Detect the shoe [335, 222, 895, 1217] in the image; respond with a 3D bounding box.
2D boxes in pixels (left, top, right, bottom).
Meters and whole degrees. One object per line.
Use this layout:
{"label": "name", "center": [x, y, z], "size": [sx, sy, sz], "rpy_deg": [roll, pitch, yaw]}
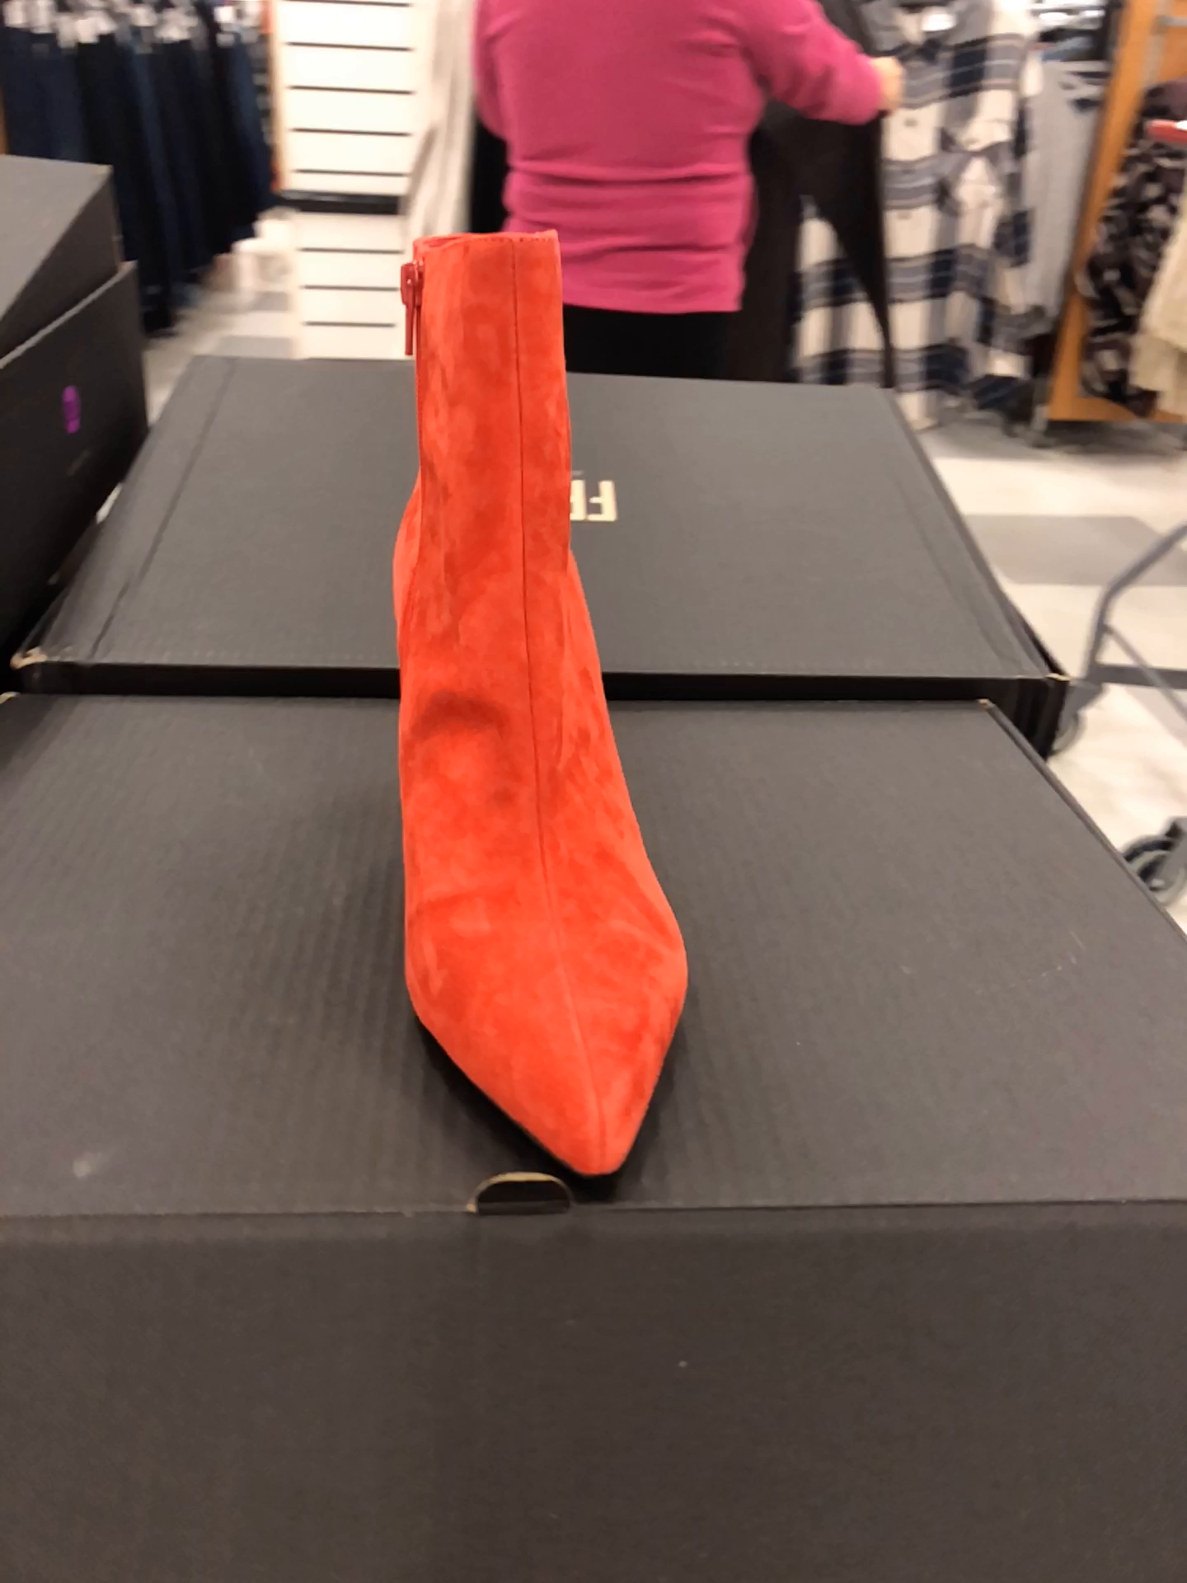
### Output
{"label": "shoe", "center": [-0.017, -0.052, 0.390], "size": [0.100, 0.211, 0.262], "rpy_deg": [-2, 24, -9]}
